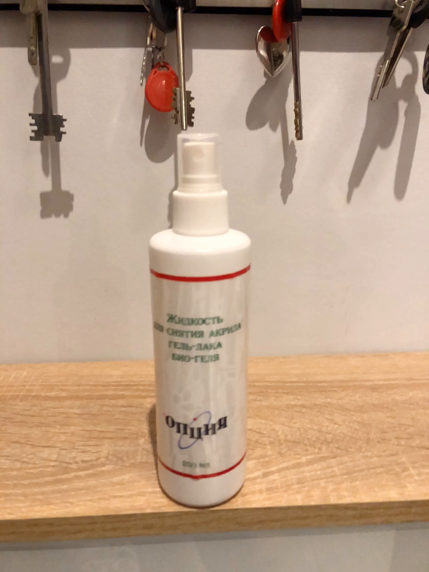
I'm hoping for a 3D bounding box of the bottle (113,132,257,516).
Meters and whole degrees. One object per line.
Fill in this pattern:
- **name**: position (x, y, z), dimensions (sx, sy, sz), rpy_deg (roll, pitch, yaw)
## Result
- **bottle**: position (-0.010, 0.019, 0.239), dimensions (0.056, 0.183, 0.060), rpy_deg (0, 18, 0)
